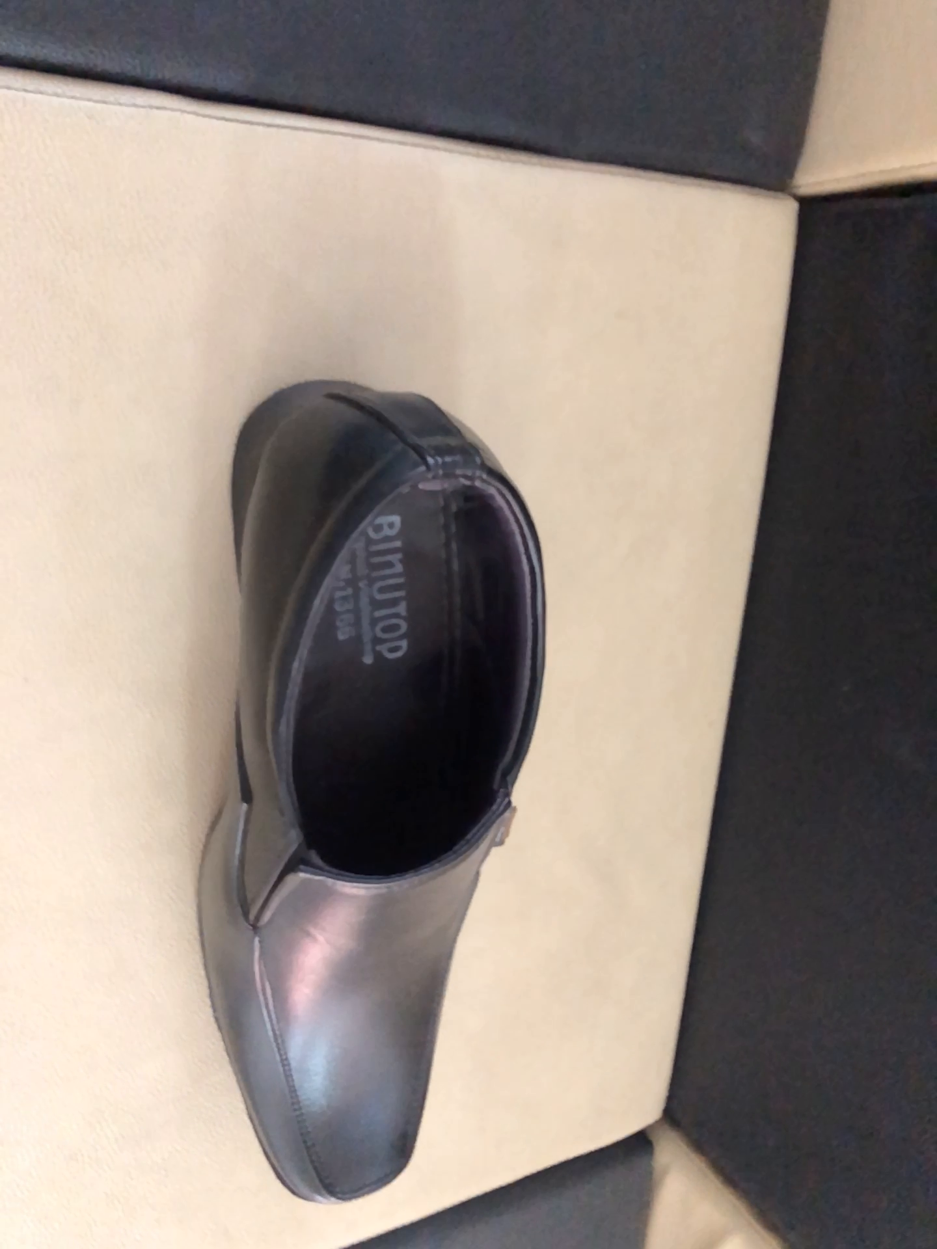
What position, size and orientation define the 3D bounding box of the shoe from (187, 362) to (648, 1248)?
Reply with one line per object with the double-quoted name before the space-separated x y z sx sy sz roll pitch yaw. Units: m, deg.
"shoe" -0.024 0.070 0.334 0.100 0.090 0.290 -6 108 -27
